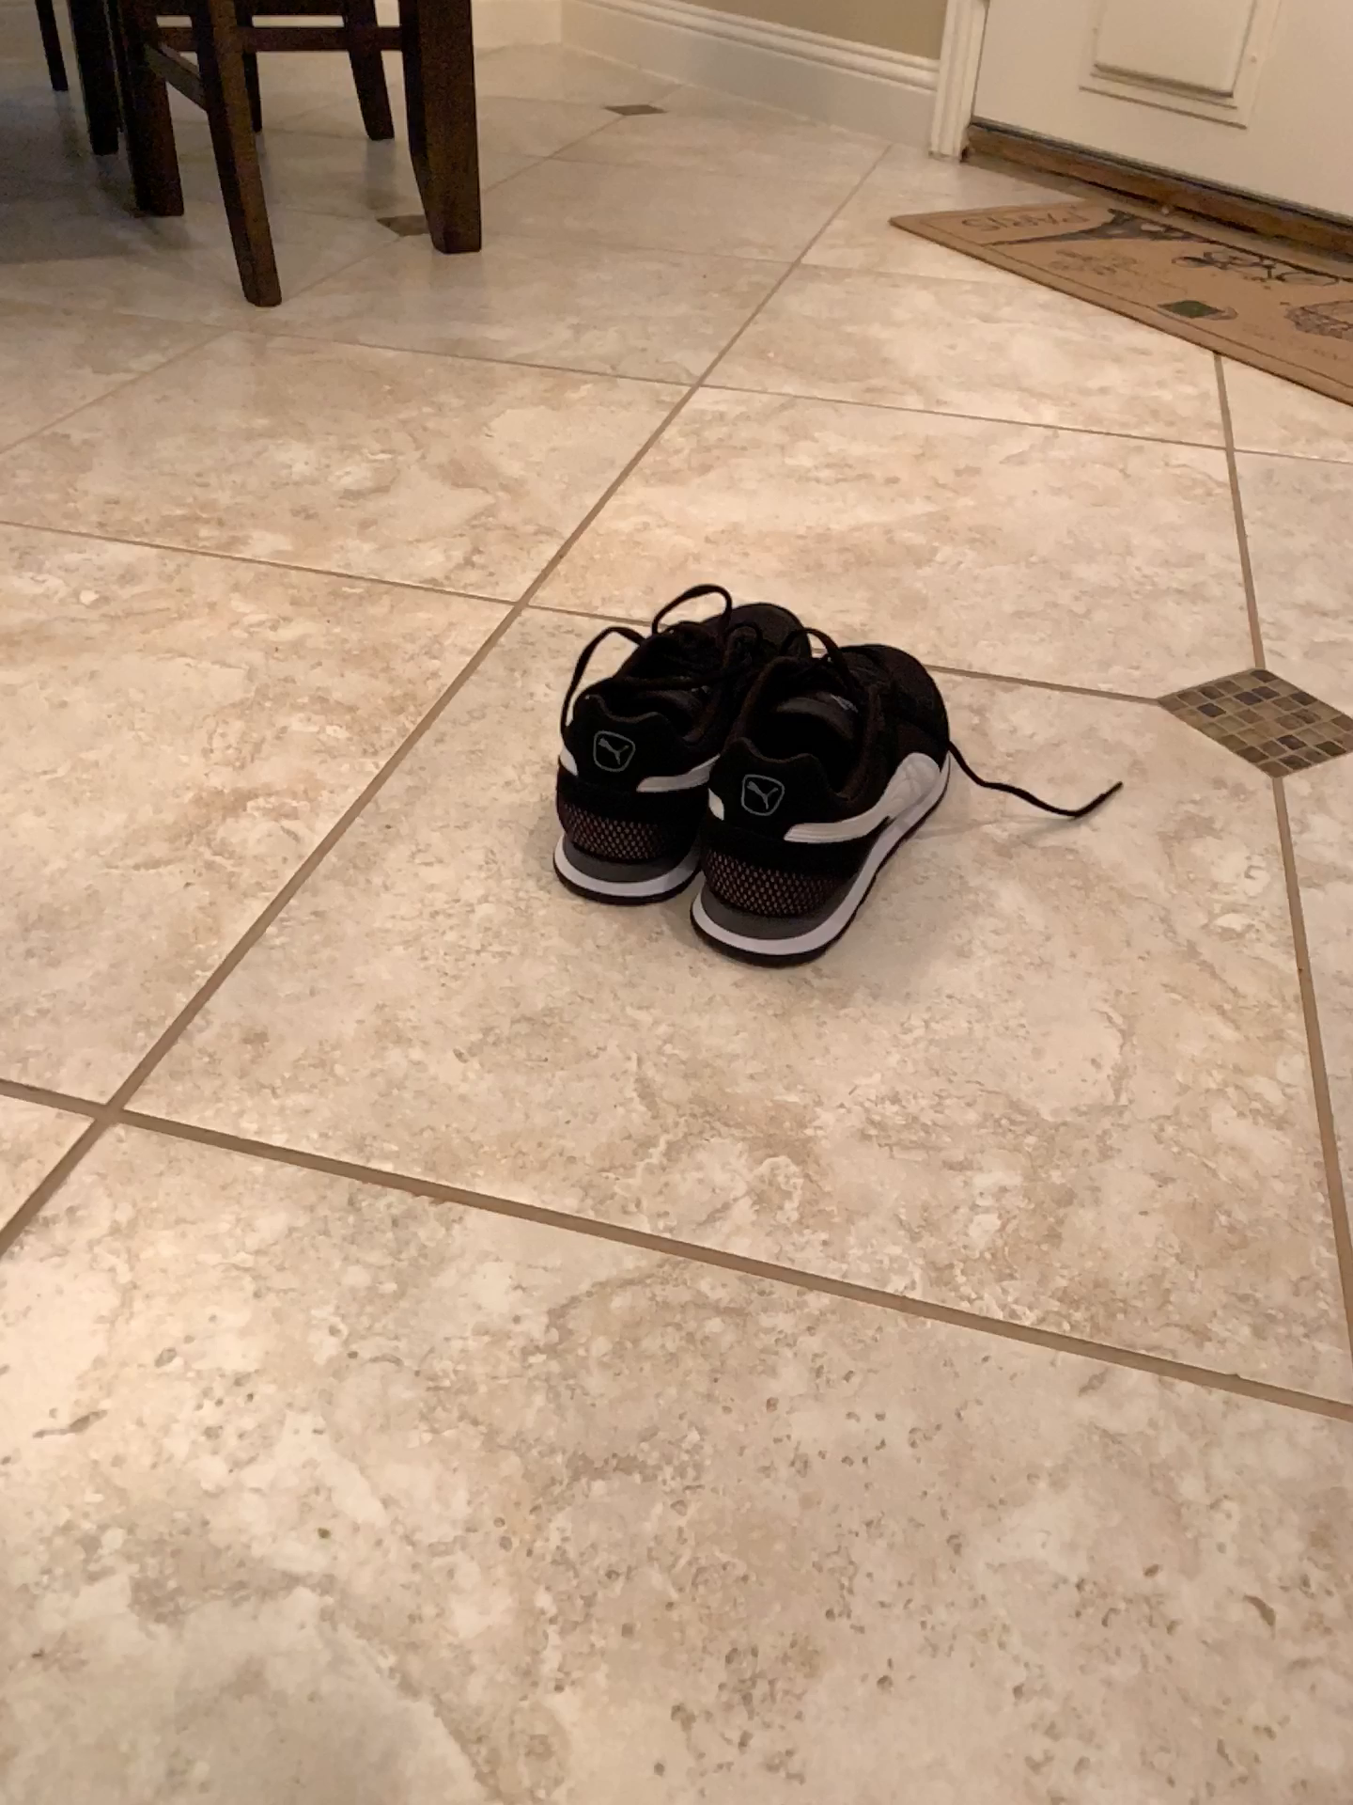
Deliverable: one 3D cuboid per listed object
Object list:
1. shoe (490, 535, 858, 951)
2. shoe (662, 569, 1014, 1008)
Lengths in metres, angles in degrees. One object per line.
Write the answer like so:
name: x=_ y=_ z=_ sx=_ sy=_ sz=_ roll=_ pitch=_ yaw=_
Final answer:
shoe: x=0.007 y=-0.103 z=0.785 sx=0.108 sy=0.094 sz=0.270 roll=17 pitch=40 yaw=15
shoe: x=0.095 y=-0.076 z=0.756 sx=0.108 sy=0.095 sz=0.270 roll=16 pitch=40 yaw=16
